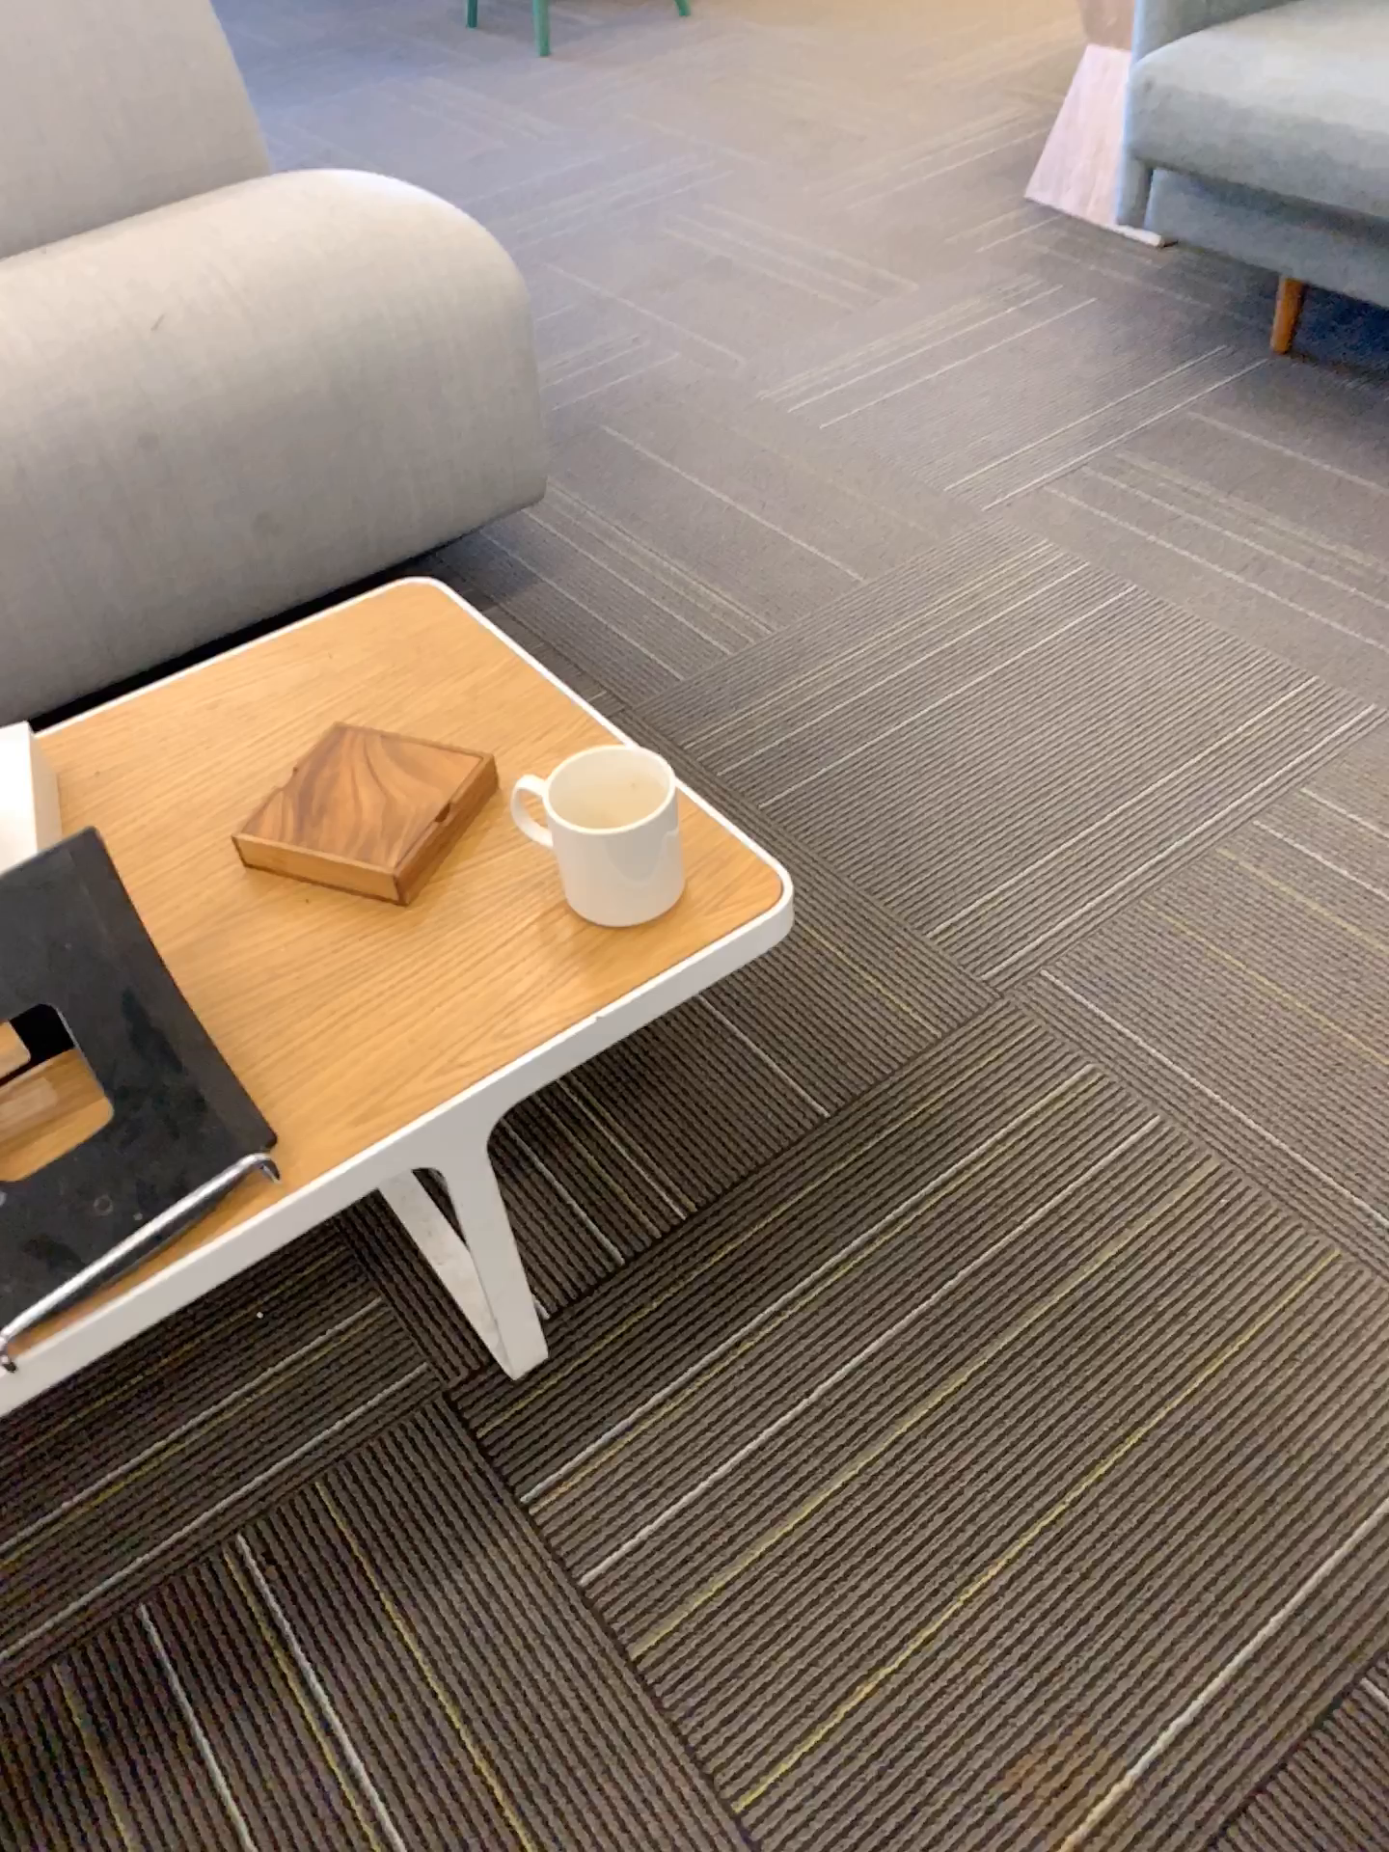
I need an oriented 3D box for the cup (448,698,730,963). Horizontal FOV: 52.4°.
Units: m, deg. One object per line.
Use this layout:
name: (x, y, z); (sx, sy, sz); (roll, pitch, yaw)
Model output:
cup: (-0.064, -0.062, 0.886); (0.140, 0.089, 0.090); (24, 53, 26)
